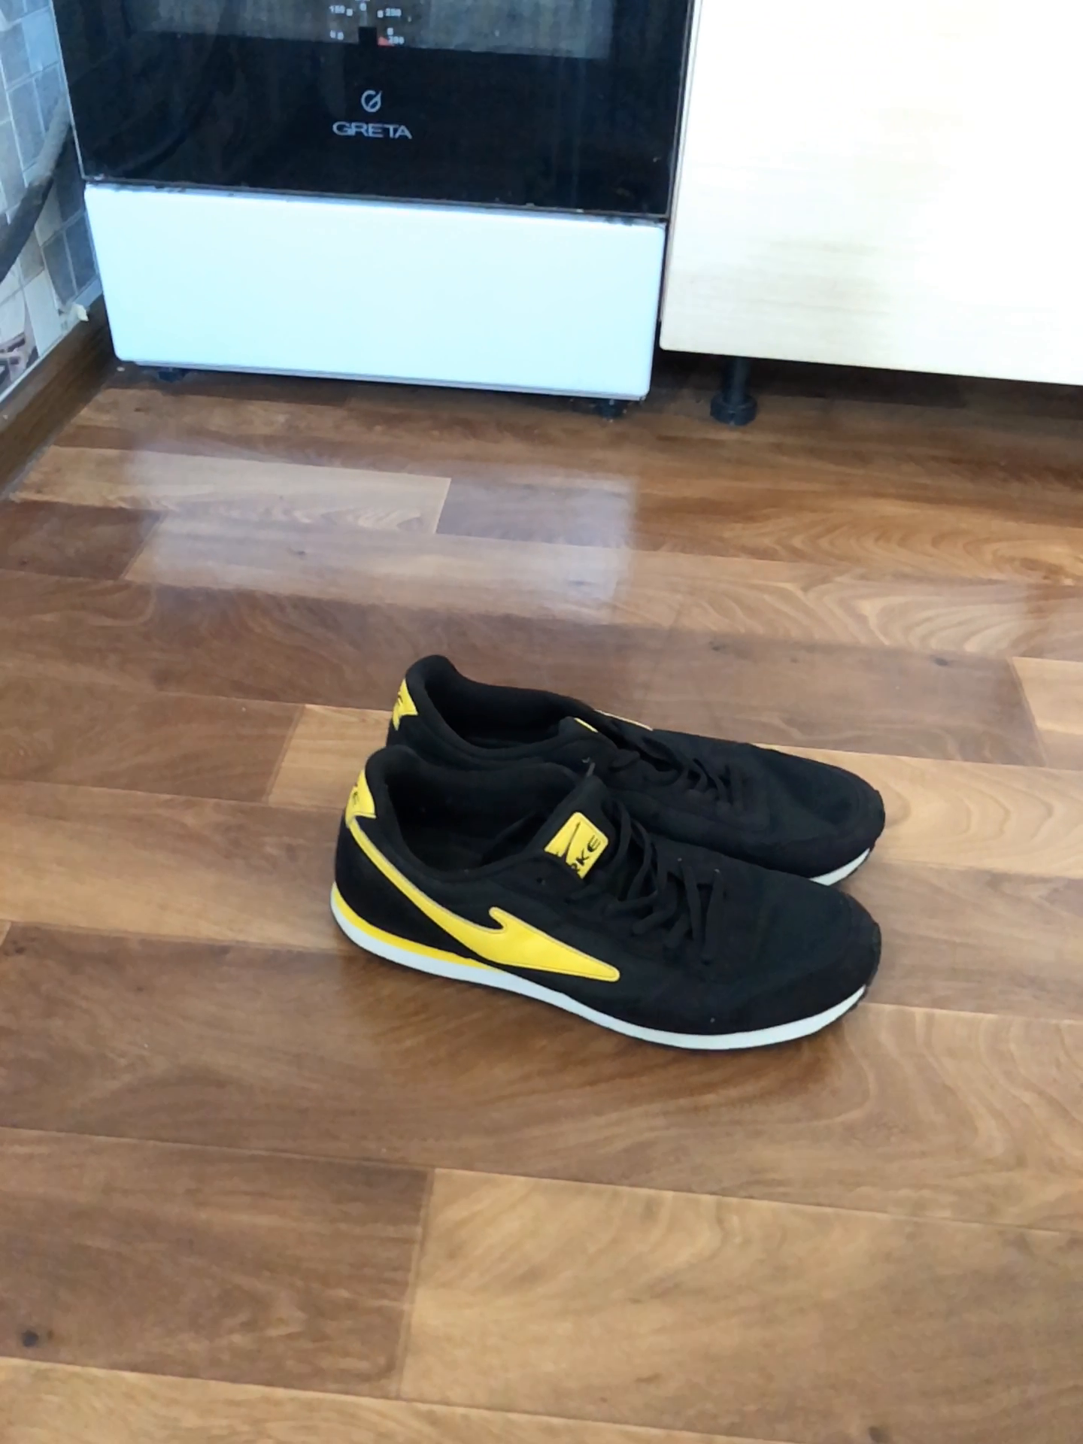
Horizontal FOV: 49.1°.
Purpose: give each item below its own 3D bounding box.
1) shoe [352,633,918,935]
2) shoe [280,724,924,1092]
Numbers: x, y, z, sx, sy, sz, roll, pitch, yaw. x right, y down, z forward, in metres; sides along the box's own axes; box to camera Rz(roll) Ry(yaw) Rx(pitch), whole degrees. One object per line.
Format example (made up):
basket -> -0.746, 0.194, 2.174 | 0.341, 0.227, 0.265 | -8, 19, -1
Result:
shoe -> 0.053, 0.032, 0.692 | 0.300, 0.079, 0.111 | 8, 40, 6
shoe -> 0.032, 0.090, 0.611 | 0.300, 0.079, 0.111 | 9, 40, 7
